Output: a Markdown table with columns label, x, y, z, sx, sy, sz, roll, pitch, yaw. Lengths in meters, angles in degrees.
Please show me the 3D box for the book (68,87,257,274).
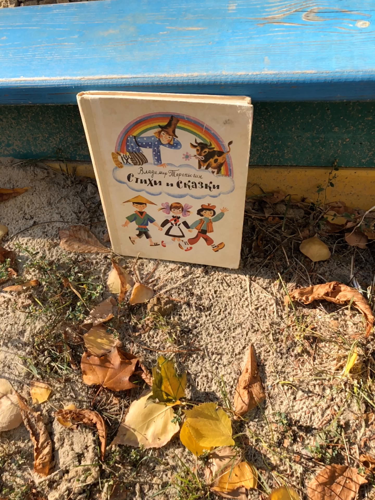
| label | x | y | z | sx | sy | sz | roll | pitch | yaw |
| --- | --- | --- | --- | --- | --- | --- | --- | --- | --- |
| book | -0.020 | -0.067 | 0.459 | 0.178 | 0.213 | 0.024 | 7 | 44 | 12 |
